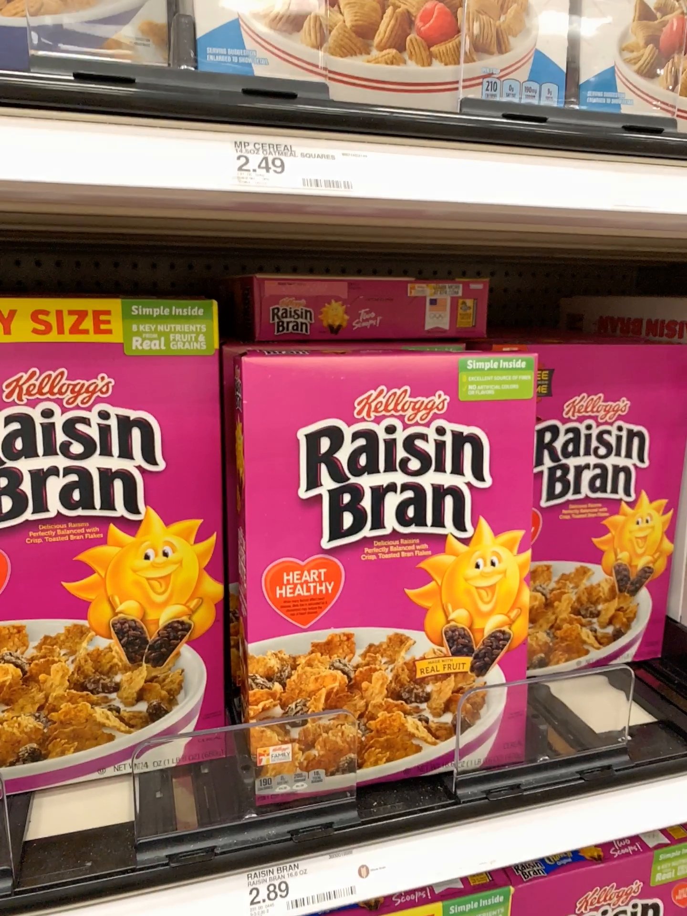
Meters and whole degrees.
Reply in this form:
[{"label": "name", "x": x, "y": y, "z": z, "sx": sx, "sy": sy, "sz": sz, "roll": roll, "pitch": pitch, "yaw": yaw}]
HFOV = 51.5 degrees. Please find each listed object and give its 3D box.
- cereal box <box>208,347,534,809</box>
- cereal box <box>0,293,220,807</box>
[{"label": "cereal box", "x": 0.019, "y": 0.069, "z": 0.471, "sx": 0.200, "sy": 0.279, "sz": 0.050, "roll": -3, "pitch": 9, "yaw": -16}, {"label": "cereal box", "x": -0.198, "y": 0.050, "z": 0.455, "sx": 0.220, "sy": 0.299, "sz": 0.060, "roll": -3, "pitch": 12, "yaw": -17}]
